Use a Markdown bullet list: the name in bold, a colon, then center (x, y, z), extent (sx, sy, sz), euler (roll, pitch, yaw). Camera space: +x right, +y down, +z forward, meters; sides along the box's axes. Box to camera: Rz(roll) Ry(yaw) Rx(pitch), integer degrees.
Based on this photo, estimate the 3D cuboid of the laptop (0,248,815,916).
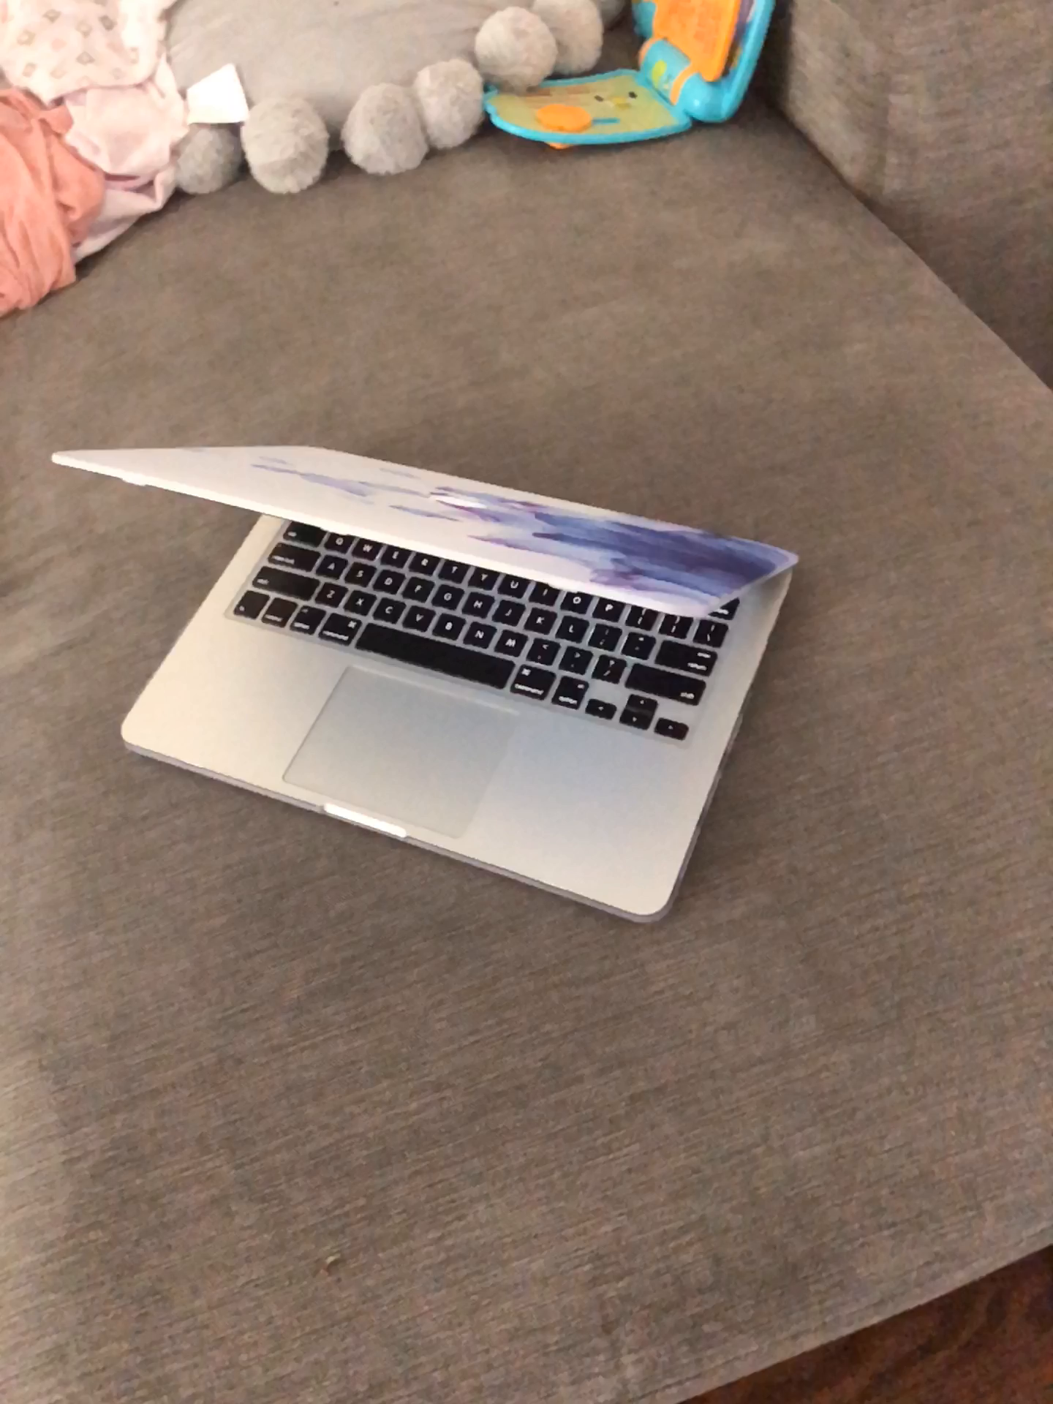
- **laptop**: center (-0.047, -0.070, 0.566), extent (0.309, 0.137, 0.218), euler (16, 61, 19)
